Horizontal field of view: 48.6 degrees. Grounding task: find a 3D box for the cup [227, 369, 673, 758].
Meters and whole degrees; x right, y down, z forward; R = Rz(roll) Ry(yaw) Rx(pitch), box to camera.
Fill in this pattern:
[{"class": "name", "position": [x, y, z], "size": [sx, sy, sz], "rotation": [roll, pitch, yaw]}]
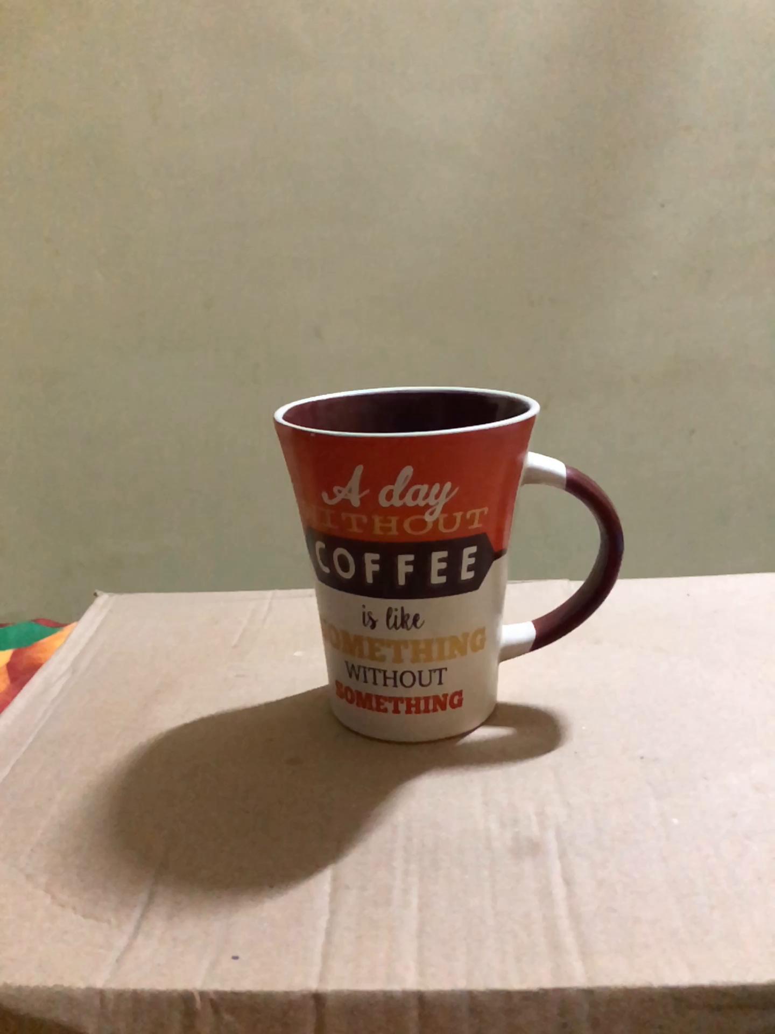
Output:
[{"class": "cup", "position": [0.025, 0.010, 0.312], "size": [0.130, 0.110, 0.100], "rotation": [-3, 13, 6]}]
